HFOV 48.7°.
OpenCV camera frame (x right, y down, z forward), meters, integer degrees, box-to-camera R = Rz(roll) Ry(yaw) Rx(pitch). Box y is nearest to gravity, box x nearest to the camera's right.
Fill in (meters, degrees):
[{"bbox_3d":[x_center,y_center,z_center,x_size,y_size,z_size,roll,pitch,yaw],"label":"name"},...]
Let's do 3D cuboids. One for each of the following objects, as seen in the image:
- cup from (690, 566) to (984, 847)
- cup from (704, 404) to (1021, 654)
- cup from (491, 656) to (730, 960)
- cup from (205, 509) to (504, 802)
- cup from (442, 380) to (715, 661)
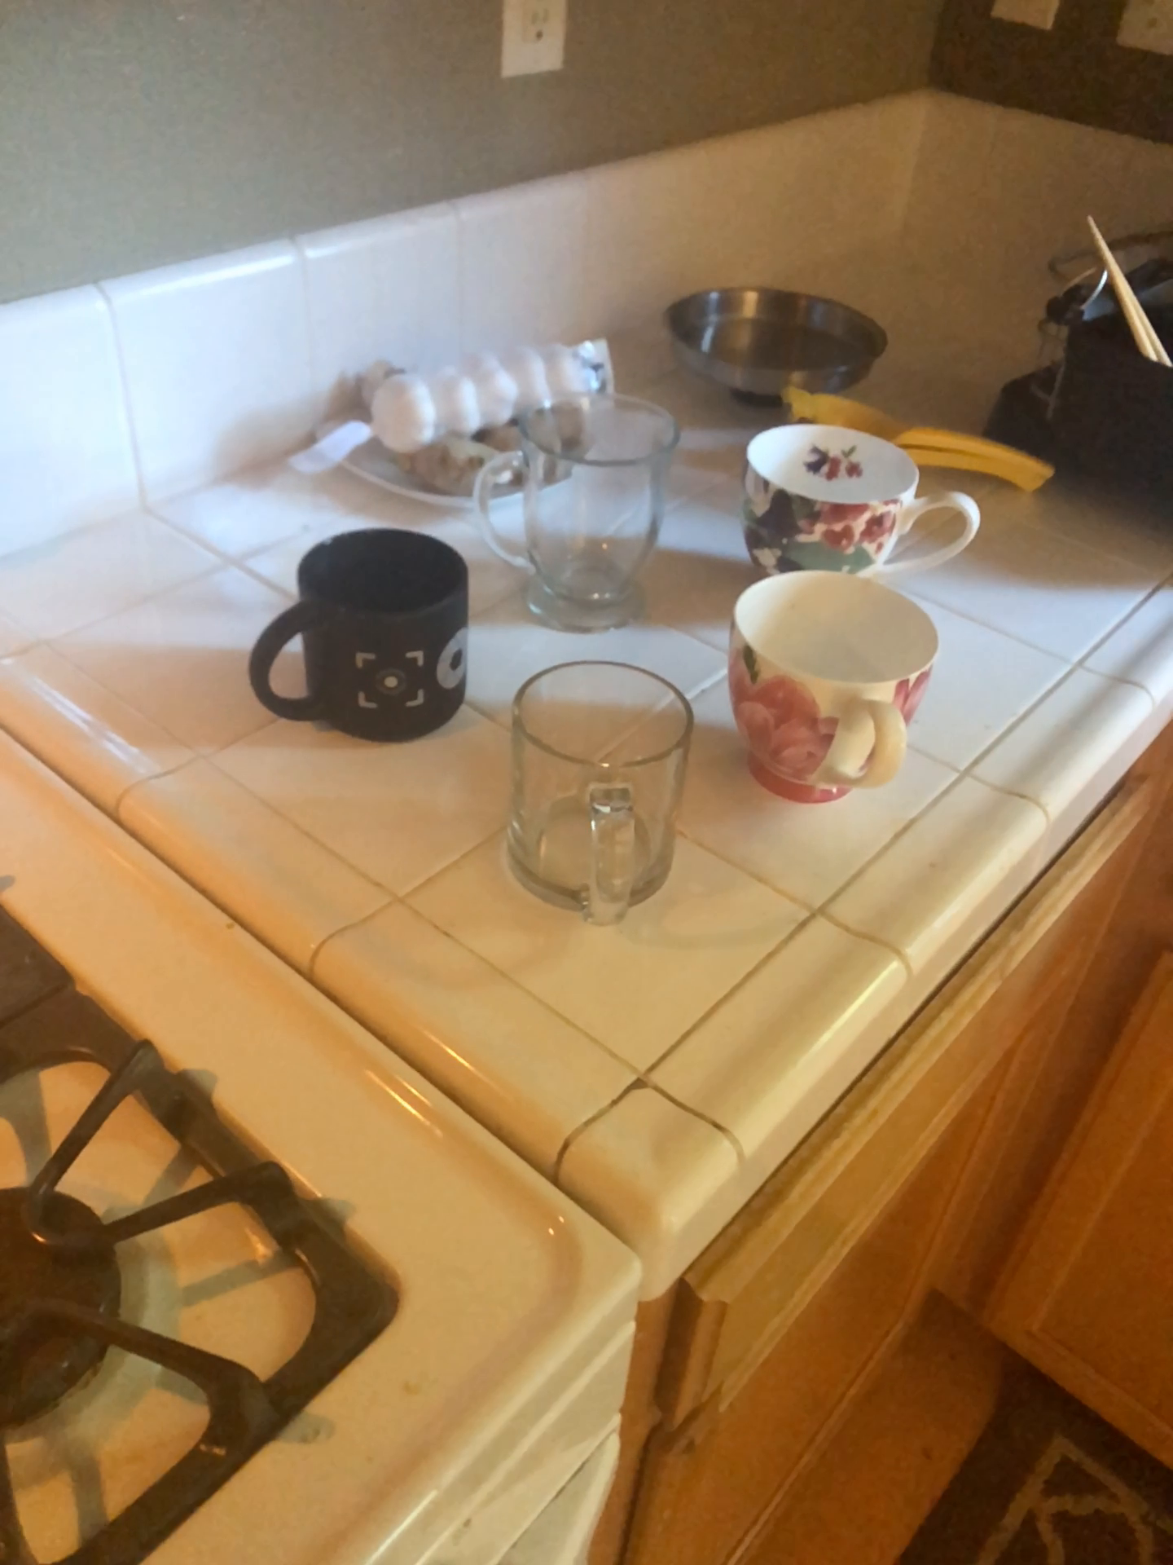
[{"bbox_3d":[0.114,-0.040,0.627,0.100,0.069,0.131,0,40,-7],"label":"cup"},{"bbox_3d":[0.172,-0.163,0.817,0.160,0.079,0.101,21,42,18],"label":"cup"},{"bbox_3d":[0.005,0.009,0.605,0.090,0.079,0.121,-1,40,-8],"label":"cup"},{"bbox_3d":[-0.109,-0.064,0.623,0.111,0.079,0.080,-30,51,-35],"label":"cup"},{"bbox_3d":[-0.009,-0.155,0.754,0.120,0.109,0.101,-14,43,-22],"label":"cup"}]
